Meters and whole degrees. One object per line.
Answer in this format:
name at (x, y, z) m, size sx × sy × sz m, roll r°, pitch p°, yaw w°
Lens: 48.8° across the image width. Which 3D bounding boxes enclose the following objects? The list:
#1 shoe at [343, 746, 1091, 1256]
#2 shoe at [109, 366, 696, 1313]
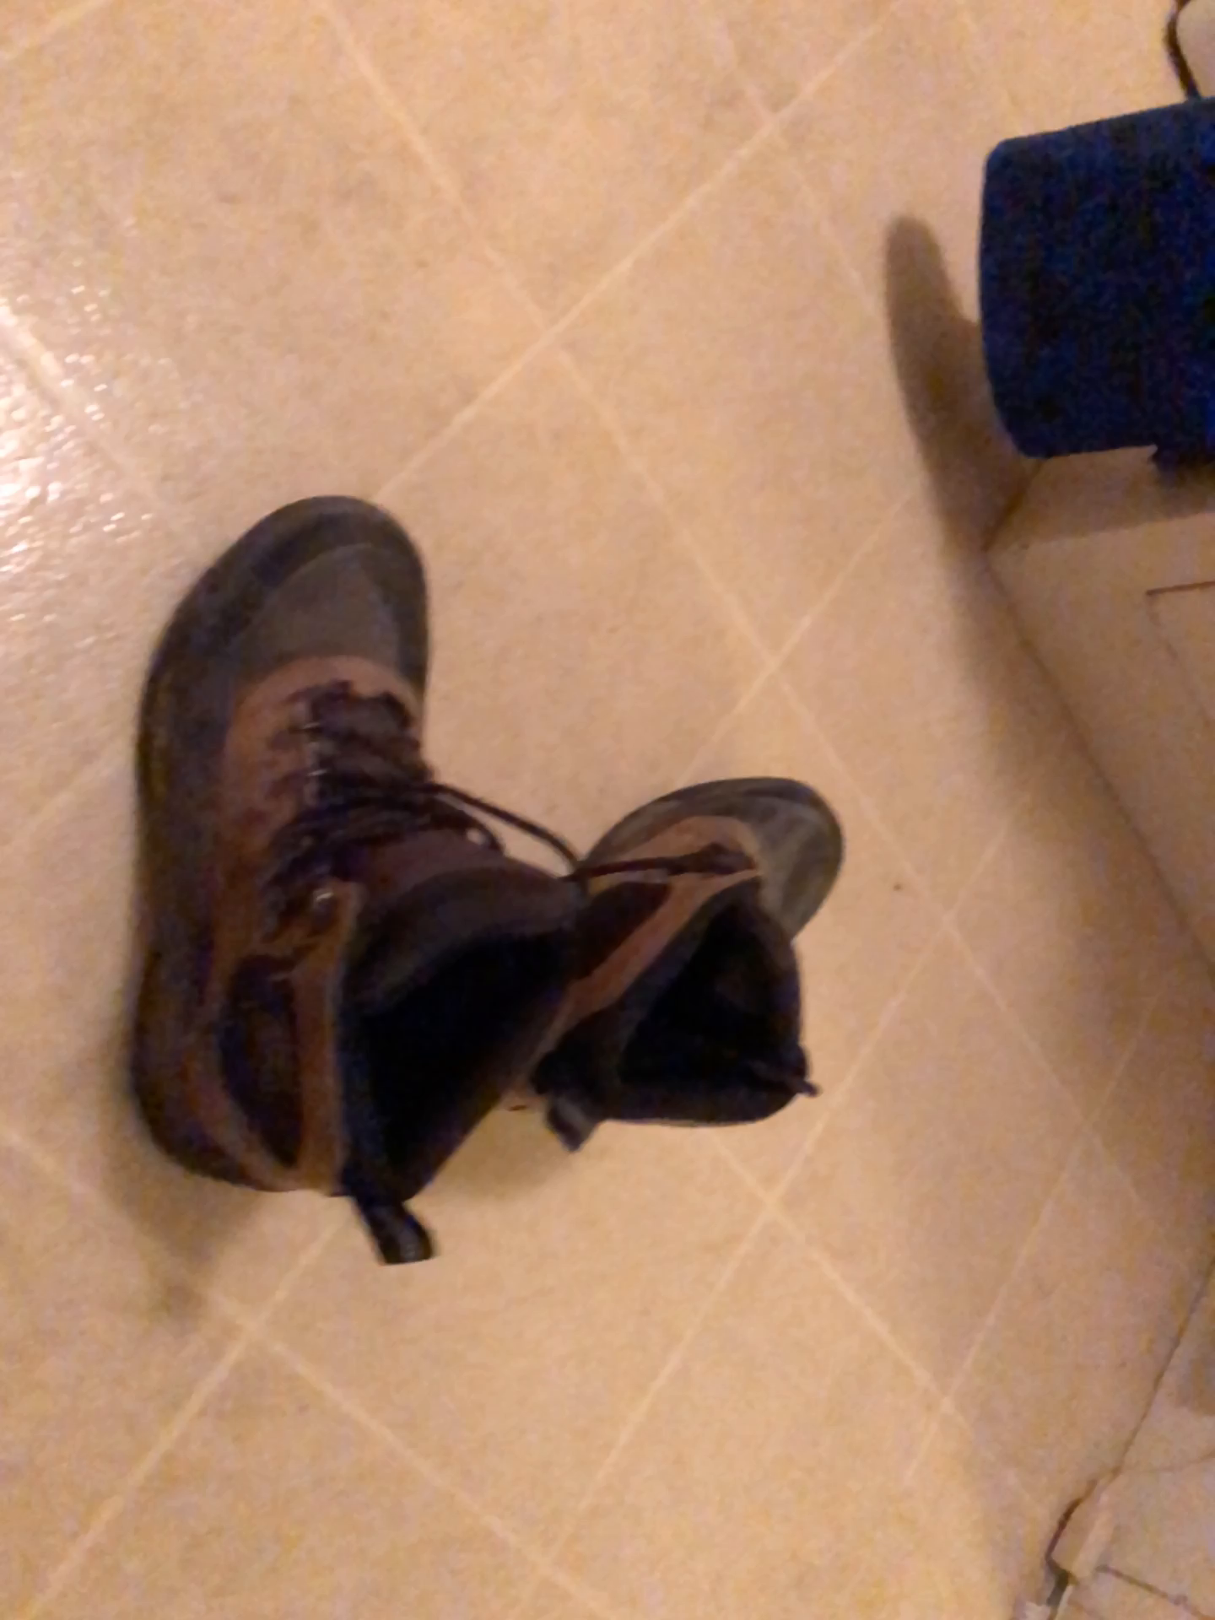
shoe at (0.058, 0.066, 0.641) m, size 0.294 × 0.185 × 0.113 m, roll -21°, pitch 103°, yaw -35°
shoe at (-0.087, 0.013, 0.530) m, size 0.122 × 0.185 × 0.299 m, roll 10°, pitch 84°, yaw -37°
